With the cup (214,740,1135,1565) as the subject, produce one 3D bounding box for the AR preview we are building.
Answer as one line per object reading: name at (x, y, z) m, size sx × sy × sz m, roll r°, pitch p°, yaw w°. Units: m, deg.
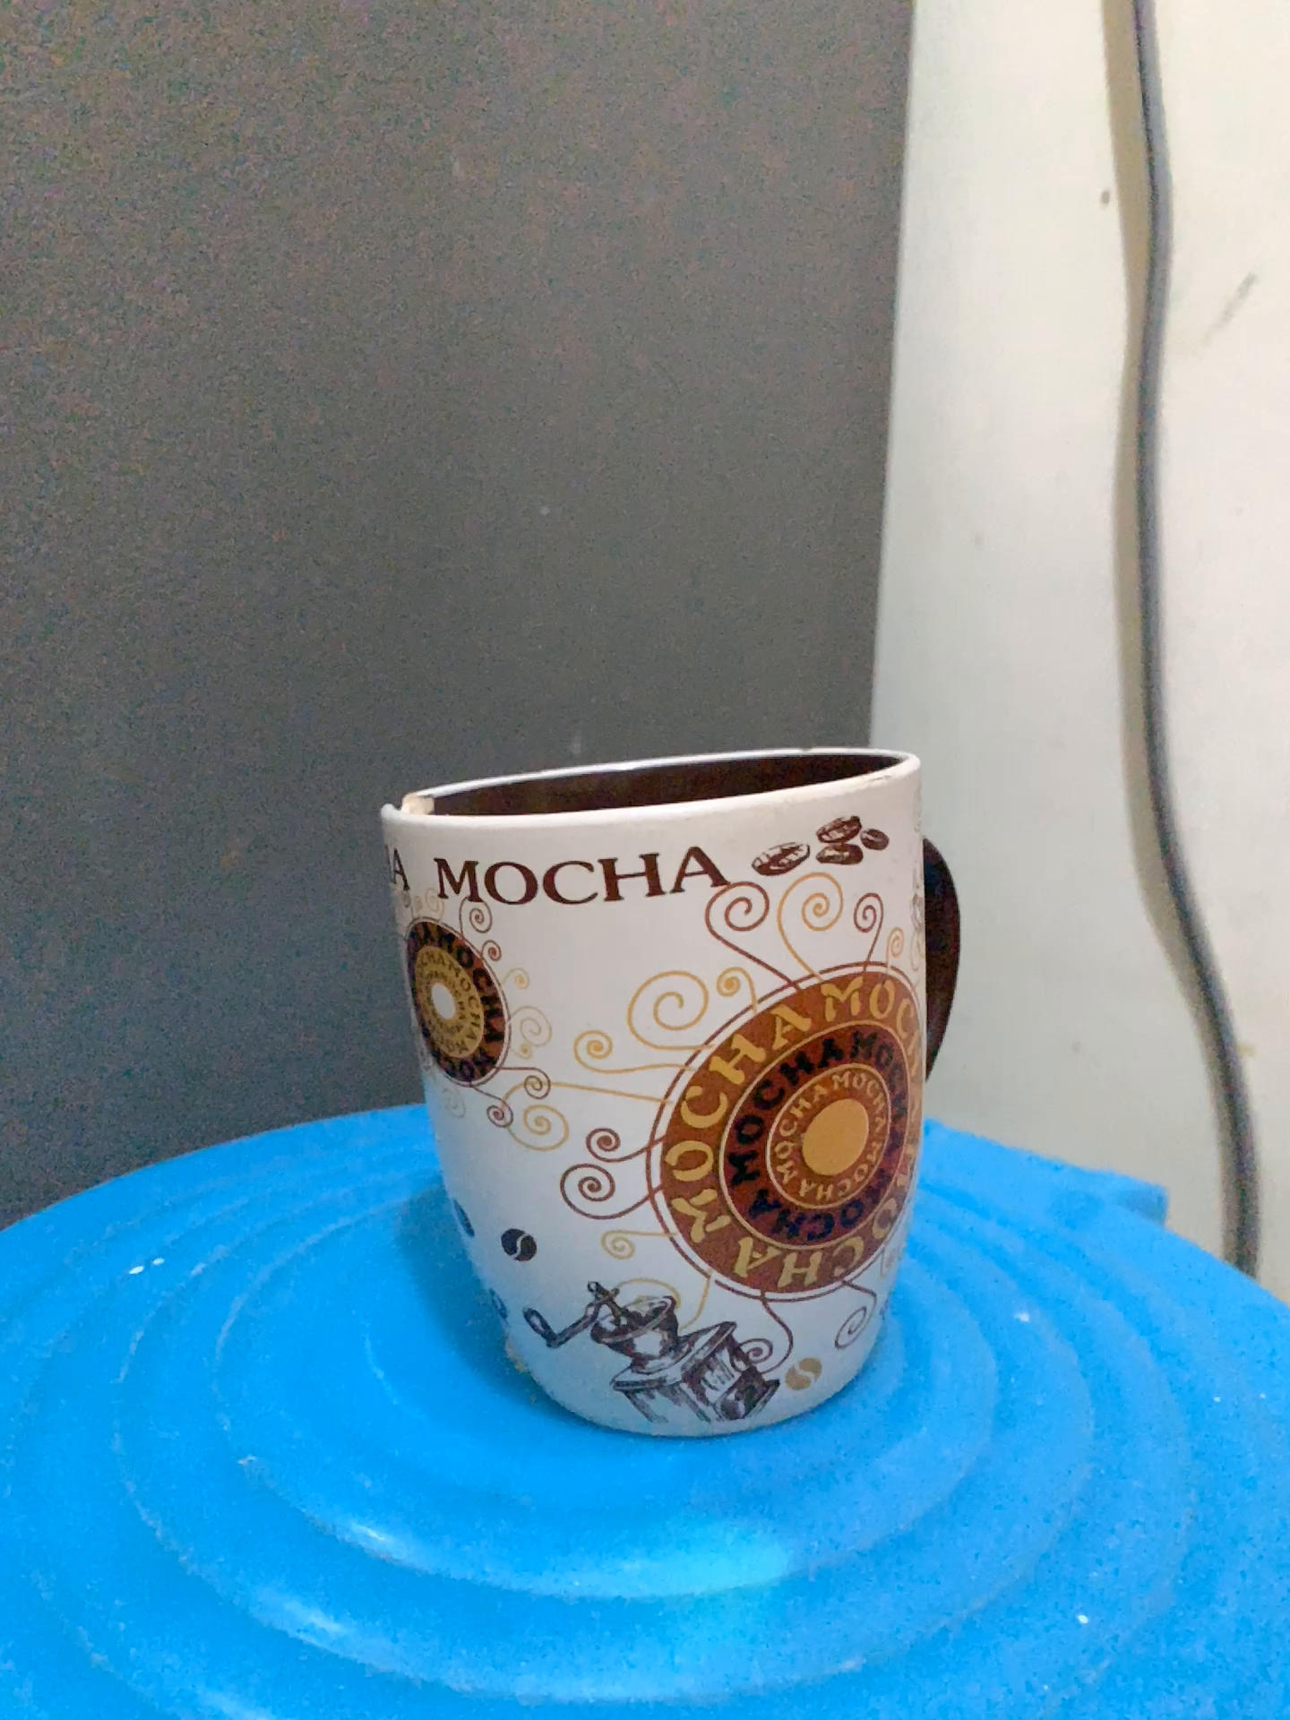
cup at (0.007, 0.027, 0.208) m, size 0.110 × 0.080 × 0.080 m, roll -10°, pitch 10°, yaw -37°
